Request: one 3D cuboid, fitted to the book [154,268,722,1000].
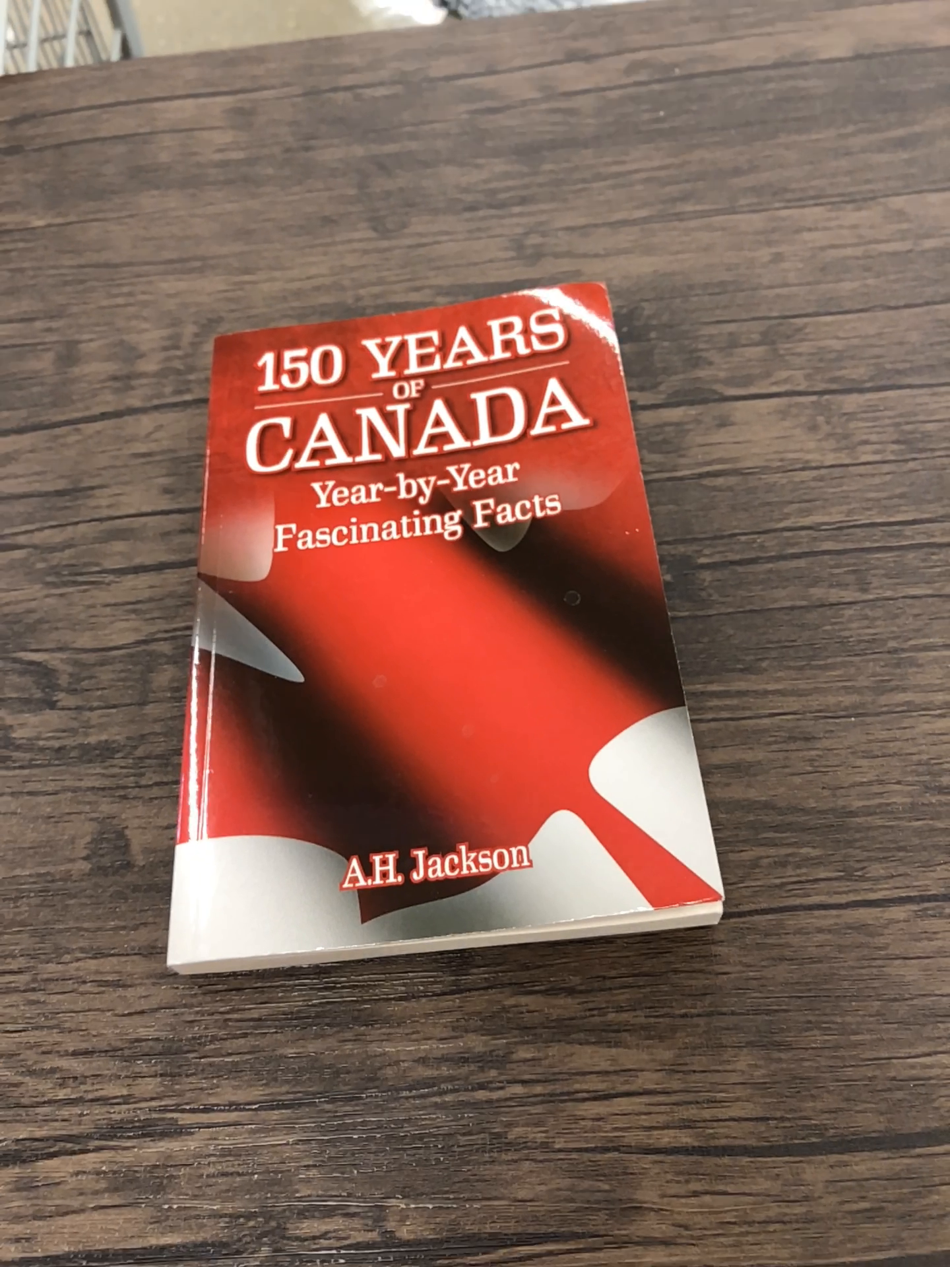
[{"bbox_3d":[-0.016,-0.012,0.302,0.130,0.025,0.206,-9,58,7],"label":"book"}]
